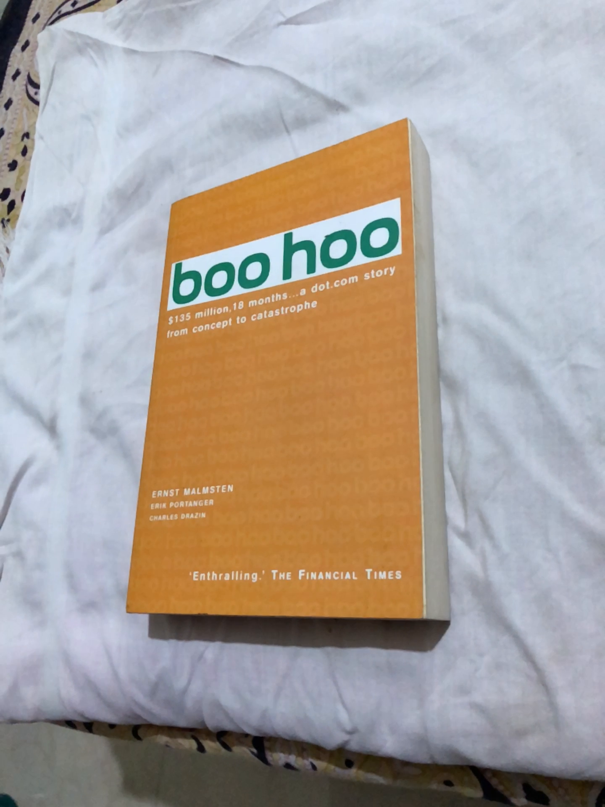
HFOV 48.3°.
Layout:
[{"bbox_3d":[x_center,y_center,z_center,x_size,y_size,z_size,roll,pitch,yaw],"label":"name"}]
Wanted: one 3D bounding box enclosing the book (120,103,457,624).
[{"bbox_3d":[-0.007,-0.012,0.292,0.130,0.040,0.200,-10,69,31],"label":"book"}]
